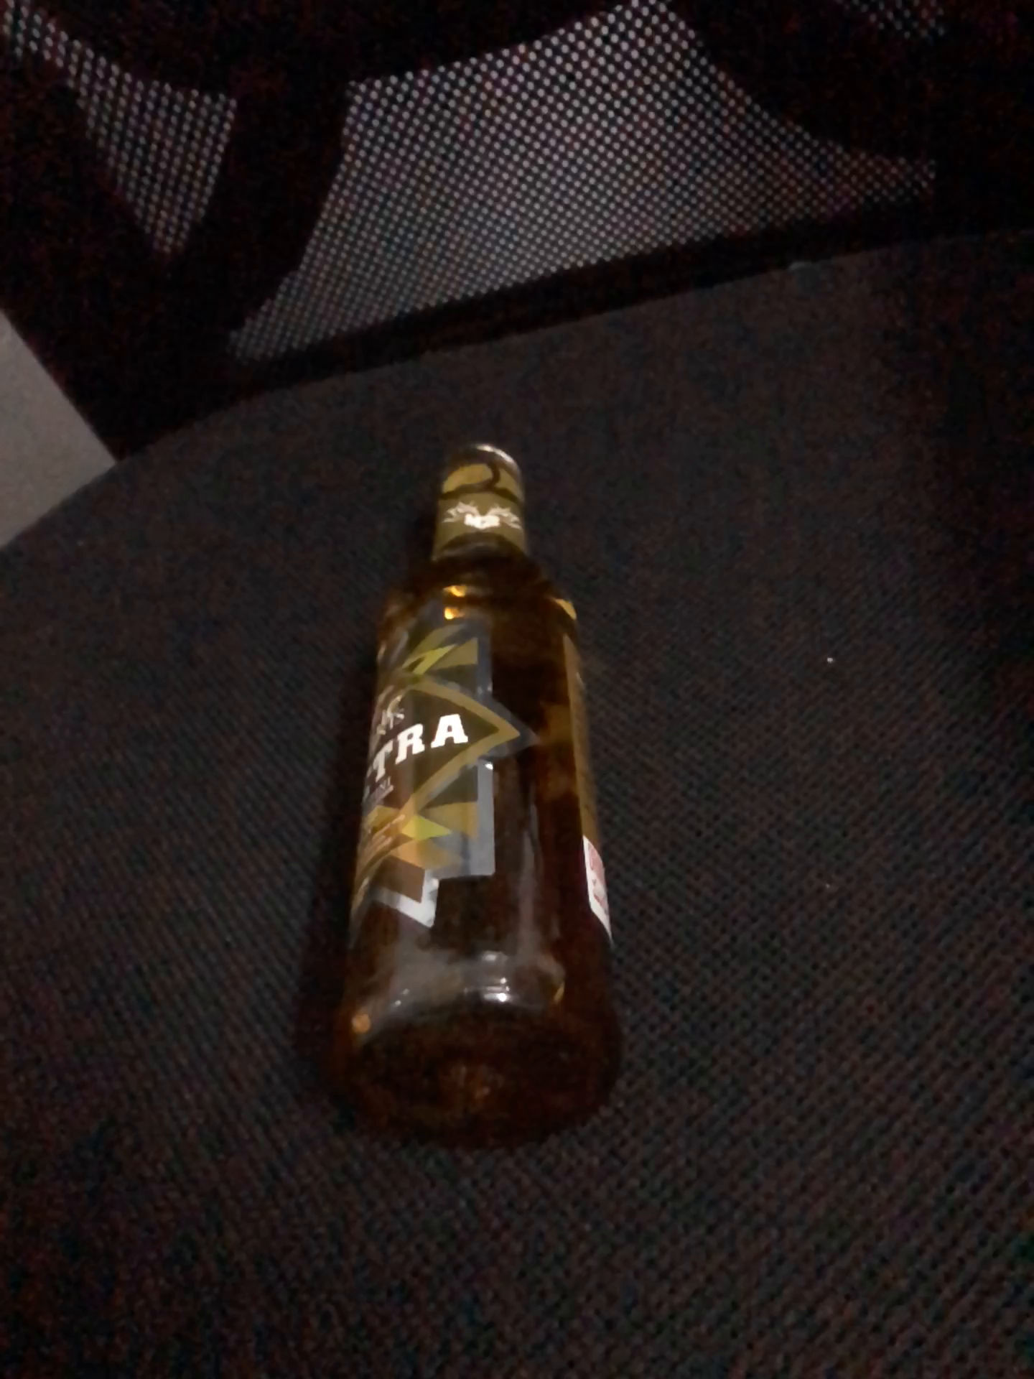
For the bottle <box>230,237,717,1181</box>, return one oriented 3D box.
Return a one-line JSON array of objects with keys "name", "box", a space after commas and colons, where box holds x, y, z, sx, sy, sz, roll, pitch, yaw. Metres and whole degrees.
[{"name": "bottle", "box": [-0.012, -0.013, 0.284, 0.070, 0.060, 0.231, -18, 48, 16]}]
